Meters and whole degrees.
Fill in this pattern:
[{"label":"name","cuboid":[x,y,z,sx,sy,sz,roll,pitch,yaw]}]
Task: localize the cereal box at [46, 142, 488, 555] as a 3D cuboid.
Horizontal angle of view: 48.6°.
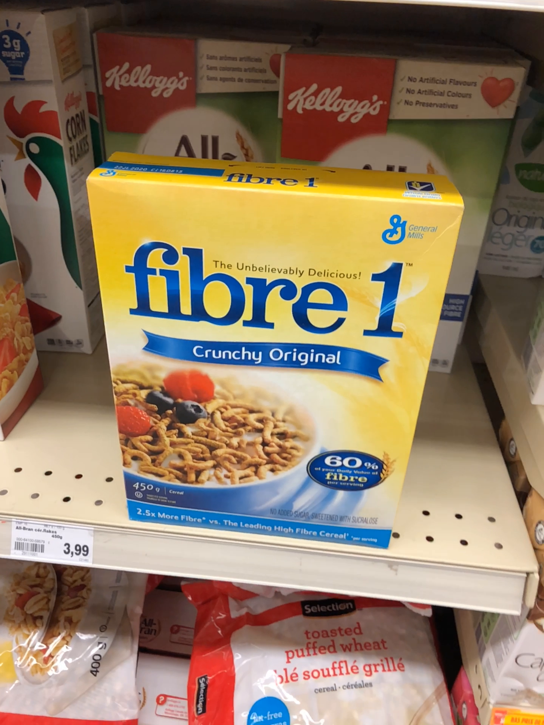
[{"label":"cereal box","cuboid":[-0.007,0.004,0.379,0.210,0.248,0.060,5,34,3]}]
